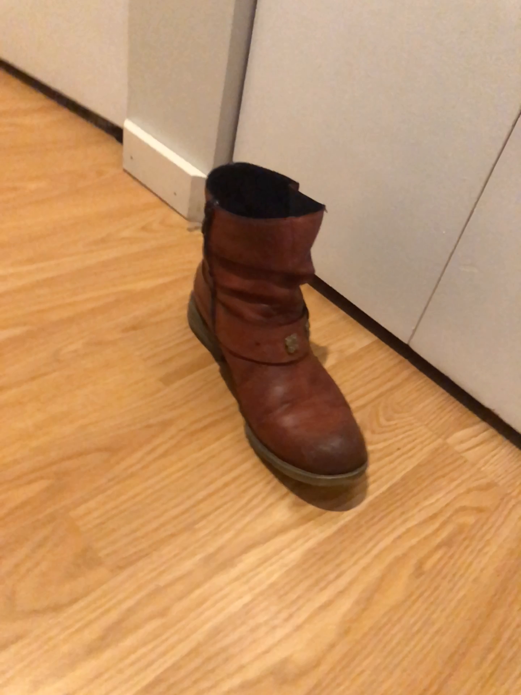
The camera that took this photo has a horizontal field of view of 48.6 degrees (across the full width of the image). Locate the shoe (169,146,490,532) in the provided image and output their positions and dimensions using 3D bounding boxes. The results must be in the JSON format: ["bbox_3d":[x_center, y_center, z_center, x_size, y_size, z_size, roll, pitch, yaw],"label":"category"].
[{"bbox_3d":[0.025,-0.023,0.479,0.100,0.169,0.271,-12,48,-26],"label":"shoe"}]
